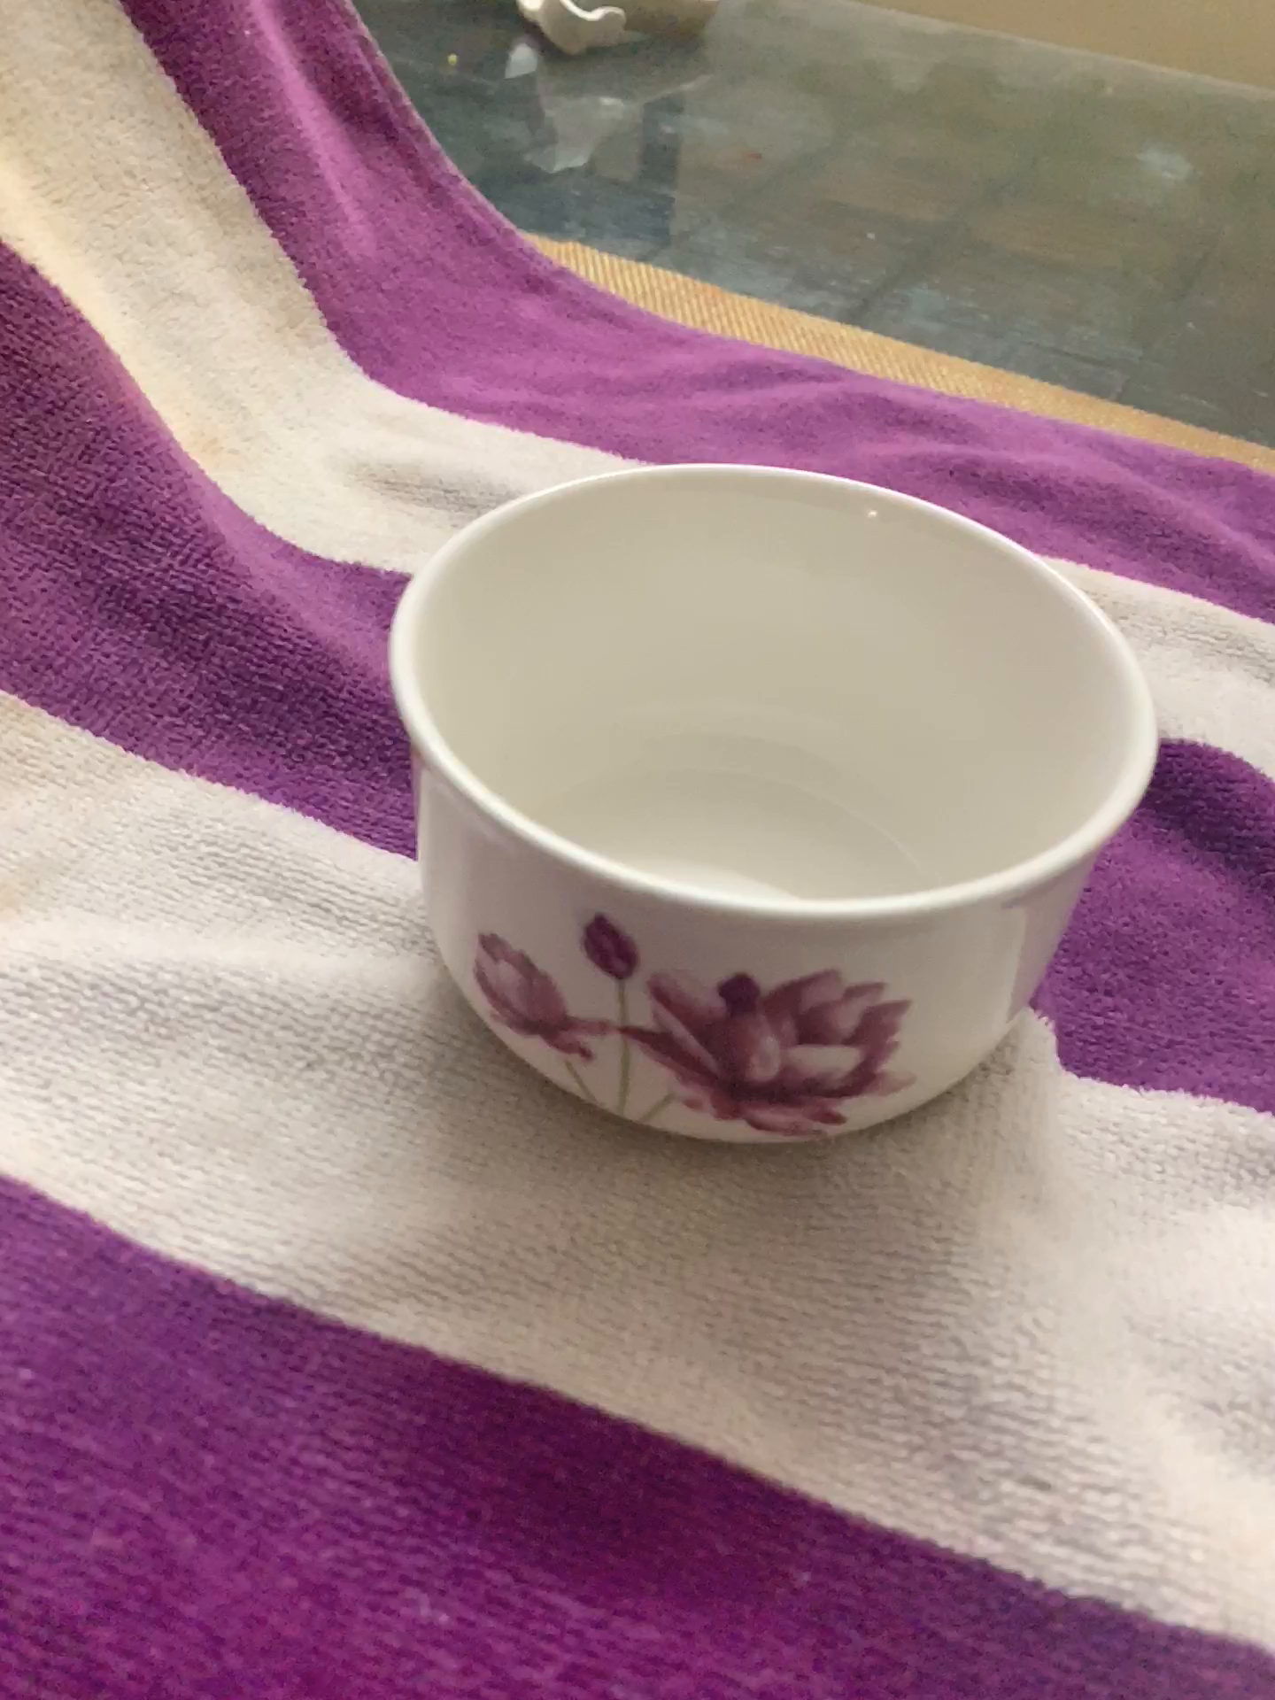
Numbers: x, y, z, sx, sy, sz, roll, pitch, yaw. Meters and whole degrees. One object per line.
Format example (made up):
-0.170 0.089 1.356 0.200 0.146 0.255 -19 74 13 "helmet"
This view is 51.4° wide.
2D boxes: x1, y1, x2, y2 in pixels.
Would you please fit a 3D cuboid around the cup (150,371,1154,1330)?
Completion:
0.011 -0.011 0.183 0.100 0.050 0.111 15 44 8 "cup"
